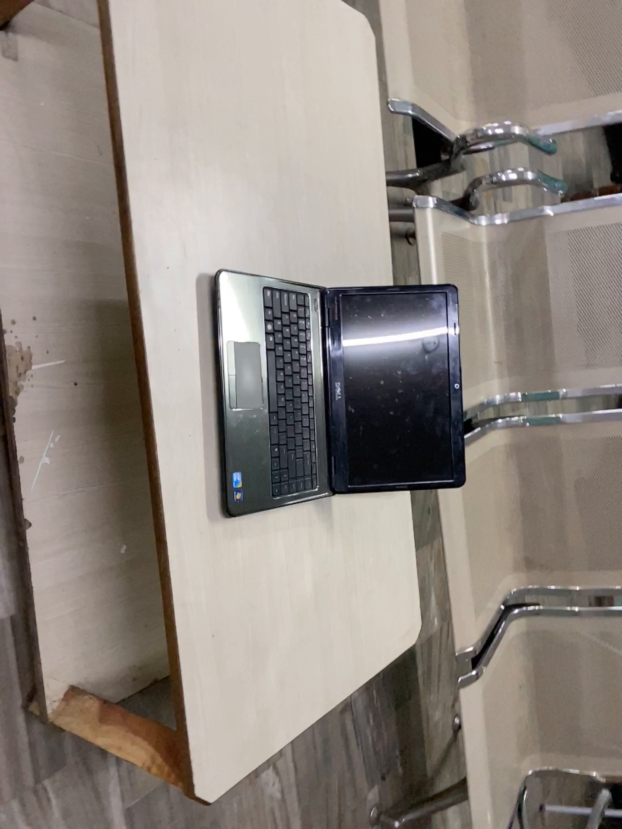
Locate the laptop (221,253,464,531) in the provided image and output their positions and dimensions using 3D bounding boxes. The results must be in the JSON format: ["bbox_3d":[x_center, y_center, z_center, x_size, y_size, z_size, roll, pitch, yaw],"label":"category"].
[{"bbox_3d":[0.067,-0.033,0.943,0.380,0.152,0.328,-4,93,-50],"label":"laptop"}]
